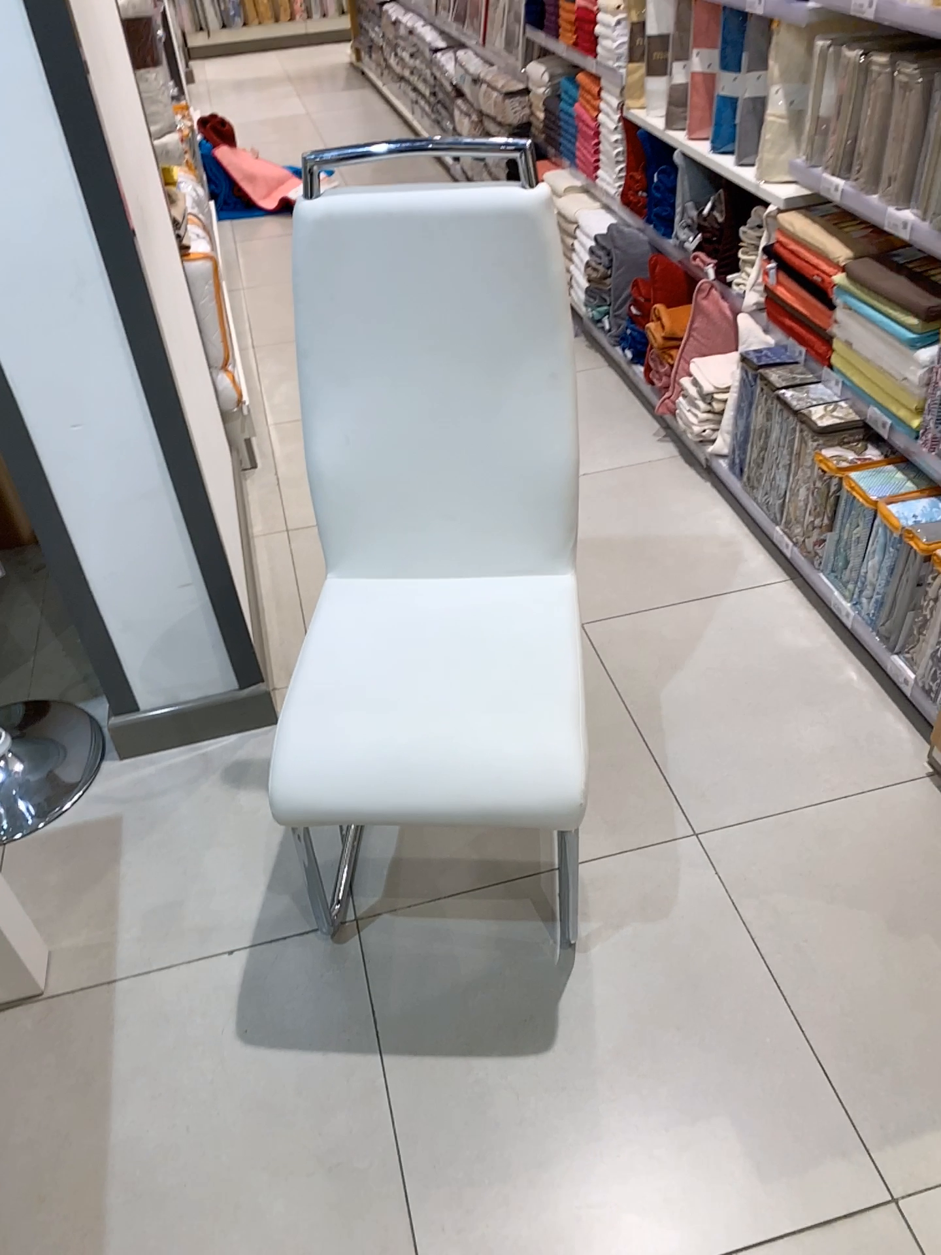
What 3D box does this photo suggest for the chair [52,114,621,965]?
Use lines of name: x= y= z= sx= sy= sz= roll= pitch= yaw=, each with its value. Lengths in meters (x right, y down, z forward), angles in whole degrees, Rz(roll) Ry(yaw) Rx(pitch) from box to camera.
chair: x=-0.064 y=-0.063 z=1.318 sx=0.480 sy=1.026 sz=0.522 roll=0 pitch=39 yaw=6
